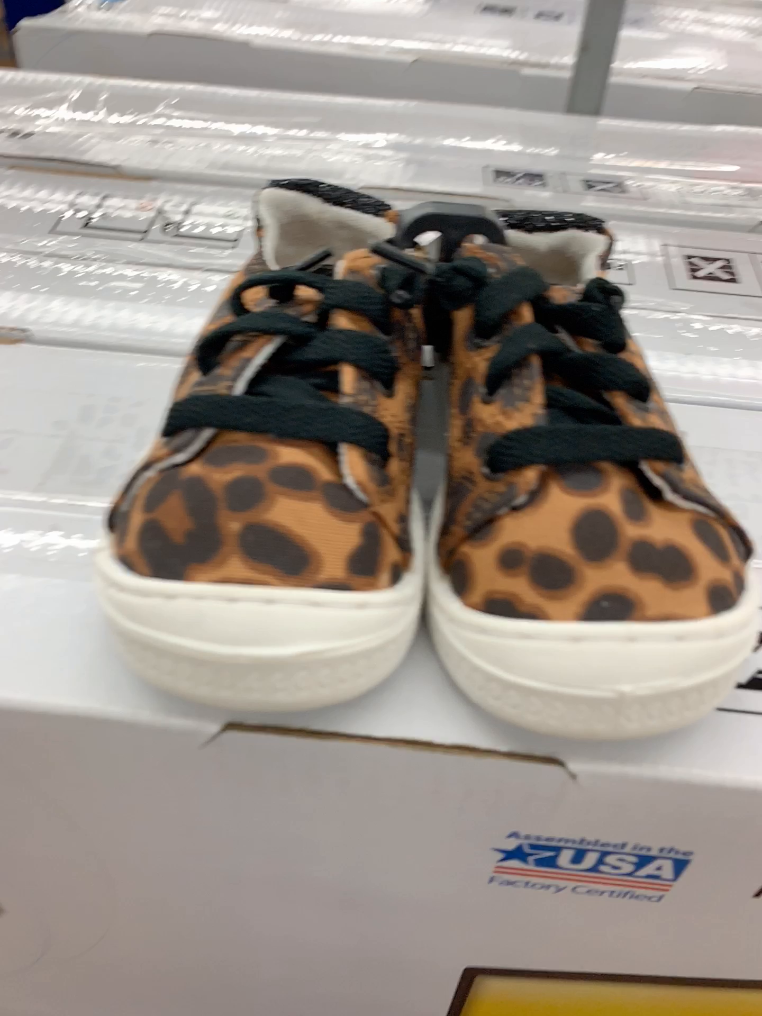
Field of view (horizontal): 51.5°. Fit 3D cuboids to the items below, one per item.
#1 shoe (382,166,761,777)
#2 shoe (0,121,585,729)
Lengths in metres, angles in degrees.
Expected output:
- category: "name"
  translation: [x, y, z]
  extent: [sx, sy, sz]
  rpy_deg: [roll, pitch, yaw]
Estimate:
- category: "shoe"
  translation: [0.044, -0.028, 0.188]
  extent: [0.080, 0.040, 0.171]
  rpy_deg: [3, 43, 0]
- category: "shoe"
  translation: [-0.007, -0.038, 0.183]
  extent: [0.080, 0.040, 0.171]
  rpy_deg: [5, 43, 1]
